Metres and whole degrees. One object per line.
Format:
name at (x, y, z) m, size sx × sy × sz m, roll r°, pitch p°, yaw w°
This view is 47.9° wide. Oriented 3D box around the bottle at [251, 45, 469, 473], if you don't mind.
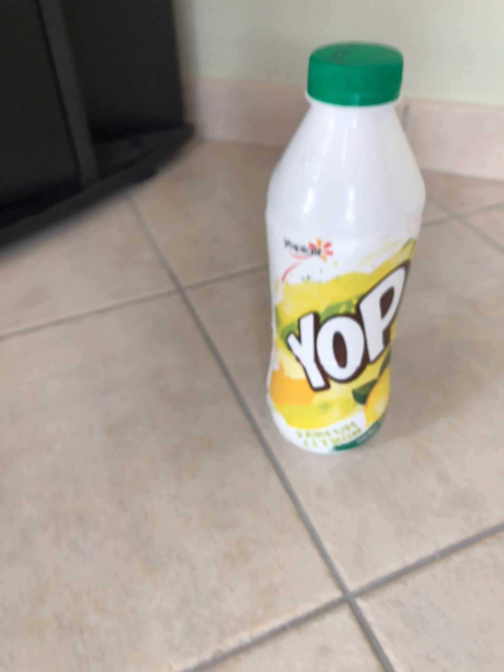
bottle at (0.045, -0.027, 0.320) m, size 0.080 × 0.229 × 0.080 m, roll -1°, pitch 41°, yaw 1°
